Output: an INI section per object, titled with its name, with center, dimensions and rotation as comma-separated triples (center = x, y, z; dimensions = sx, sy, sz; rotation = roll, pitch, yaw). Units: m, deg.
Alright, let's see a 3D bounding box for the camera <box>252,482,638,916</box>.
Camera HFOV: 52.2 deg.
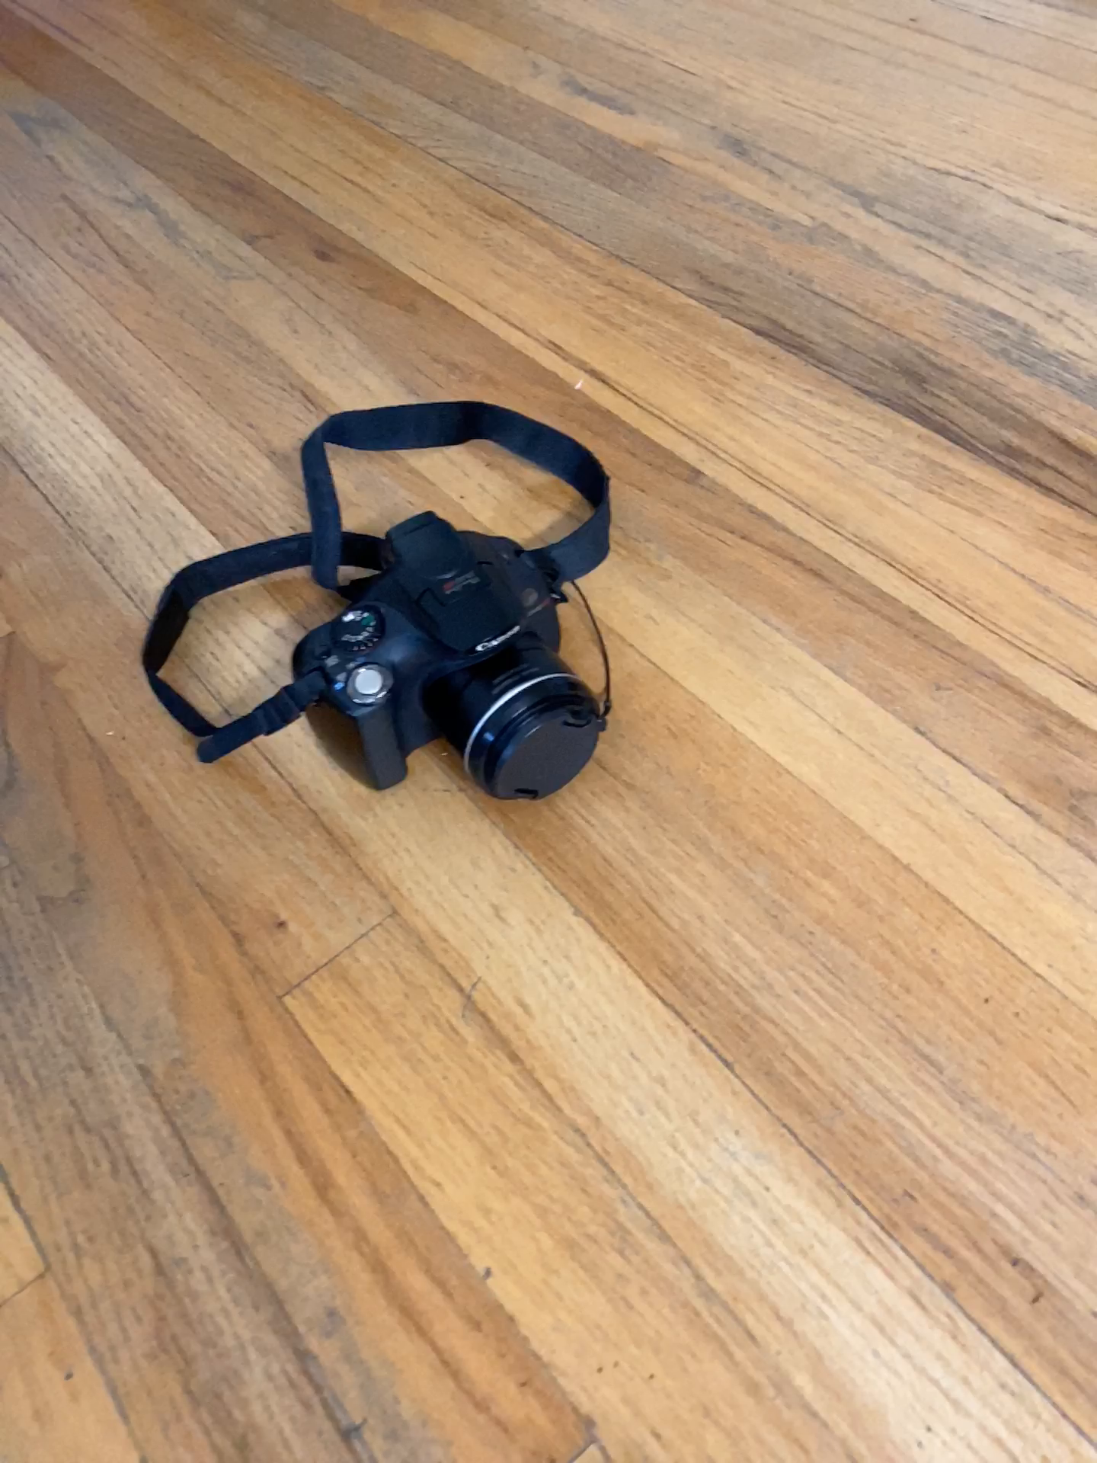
[camera]
center = -0.042, -0.016, 0.506
dimensions = 0.110, 0.110, 0.120
rotation = -33, 56, -18
